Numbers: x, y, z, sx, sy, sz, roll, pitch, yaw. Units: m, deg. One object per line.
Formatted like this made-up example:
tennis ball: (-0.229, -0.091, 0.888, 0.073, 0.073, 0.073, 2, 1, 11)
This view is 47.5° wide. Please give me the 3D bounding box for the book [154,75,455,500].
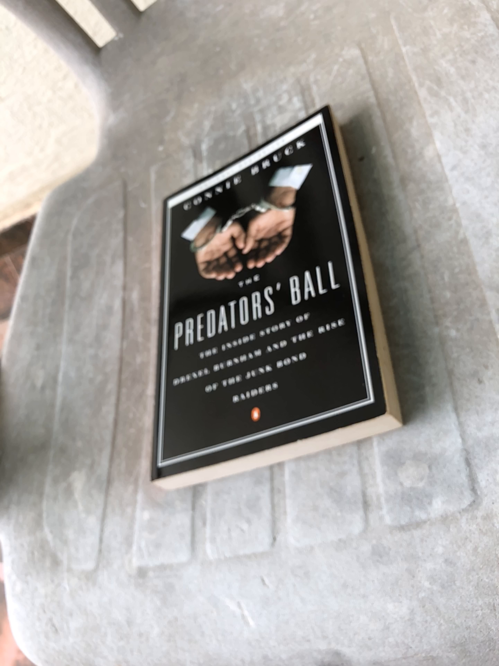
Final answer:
book: (0.014, -0.030, 0.314, 0.140, 0.030, 0.210, -22, 53, 27)
